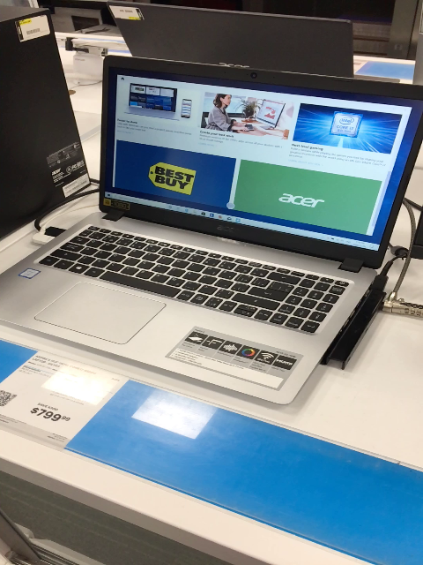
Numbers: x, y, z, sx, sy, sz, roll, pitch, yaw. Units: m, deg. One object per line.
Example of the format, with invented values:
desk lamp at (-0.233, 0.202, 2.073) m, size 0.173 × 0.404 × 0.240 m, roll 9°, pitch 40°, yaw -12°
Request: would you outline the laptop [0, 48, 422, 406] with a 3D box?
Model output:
laptop at (-0.028, -0.087, 0.598) m, size 0.379 × 0.197 × 0.314 m, roll 16°, pitch 47°, yaw 20°
